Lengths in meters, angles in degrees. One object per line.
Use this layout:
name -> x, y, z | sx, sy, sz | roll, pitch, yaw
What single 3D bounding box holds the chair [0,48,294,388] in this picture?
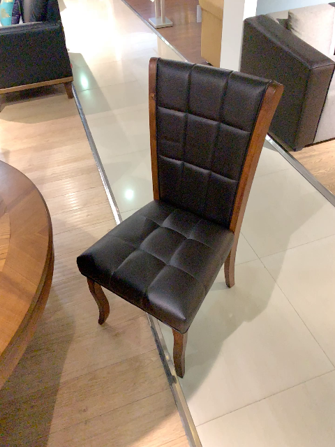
chair -> -0.009, 0.005, 1.226 | 0.531, 0.937, 0.601 | 24, 51, 25
